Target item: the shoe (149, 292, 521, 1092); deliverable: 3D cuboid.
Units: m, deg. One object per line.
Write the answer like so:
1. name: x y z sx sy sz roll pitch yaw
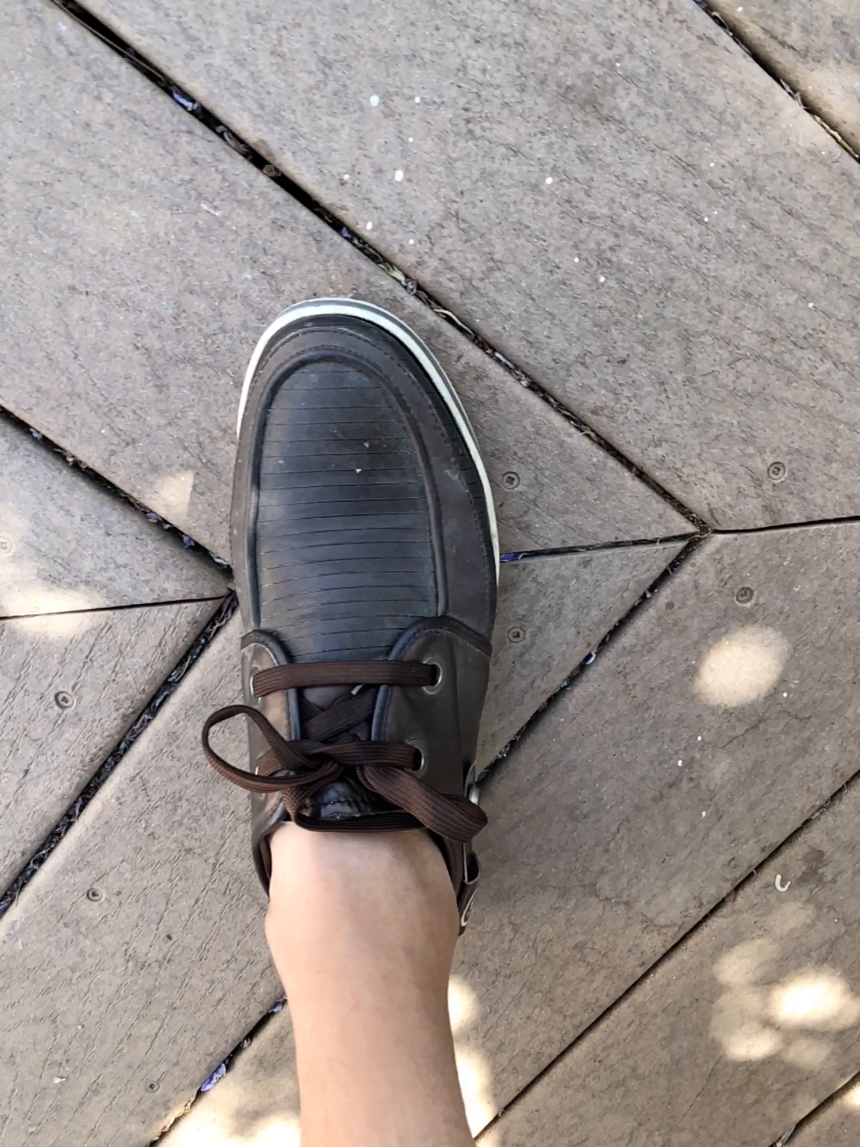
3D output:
1. shoe: -0.025 0.046 0.364 0.107 0.096 0.289 -2 109 -1
